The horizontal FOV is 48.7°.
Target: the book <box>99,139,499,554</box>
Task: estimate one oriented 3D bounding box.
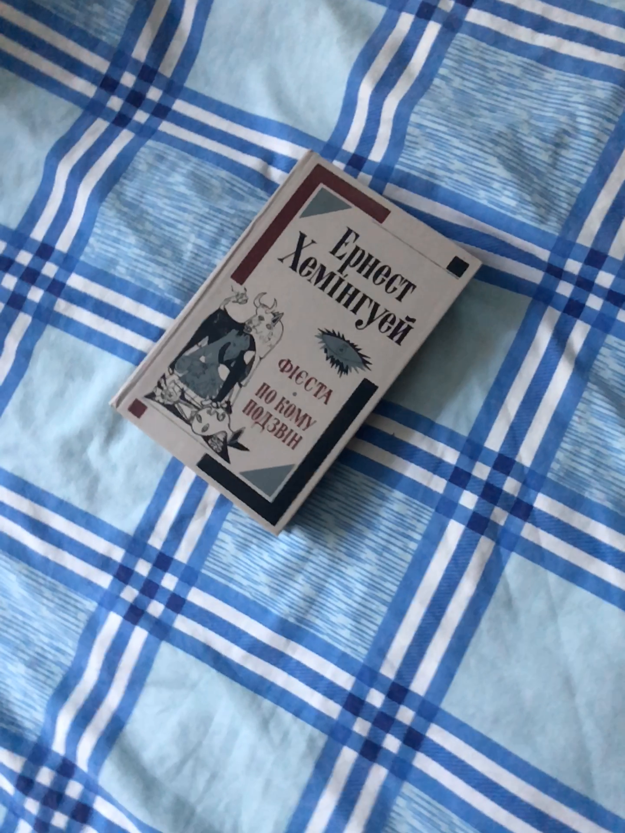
[{"bbox_3d":[-0.008,-0.045,0.441,0.142,0.040,0.220,37,87,12],"label":"book"}]
